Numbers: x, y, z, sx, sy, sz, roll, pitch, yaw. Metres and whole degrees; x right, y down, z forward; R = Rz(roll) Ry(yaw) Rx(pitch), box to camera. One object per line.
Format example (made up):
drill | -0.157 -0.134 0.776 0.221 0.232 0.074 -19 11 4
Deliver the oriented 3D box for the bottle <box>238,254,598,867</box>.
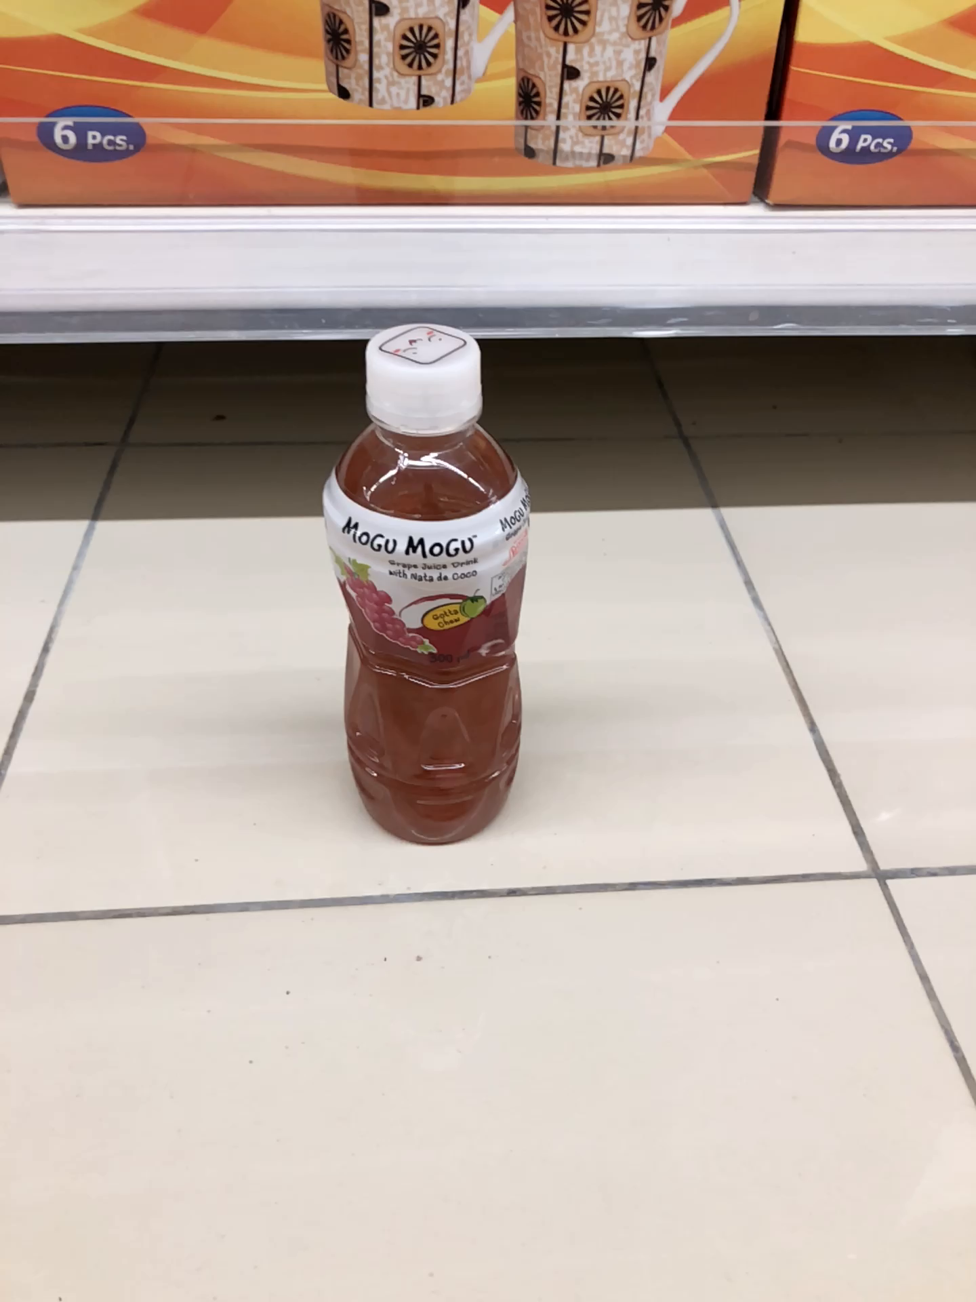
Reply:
bottle | -0.016 -0.022 0.322 0.070 0.159 0.070 1 39 -1
